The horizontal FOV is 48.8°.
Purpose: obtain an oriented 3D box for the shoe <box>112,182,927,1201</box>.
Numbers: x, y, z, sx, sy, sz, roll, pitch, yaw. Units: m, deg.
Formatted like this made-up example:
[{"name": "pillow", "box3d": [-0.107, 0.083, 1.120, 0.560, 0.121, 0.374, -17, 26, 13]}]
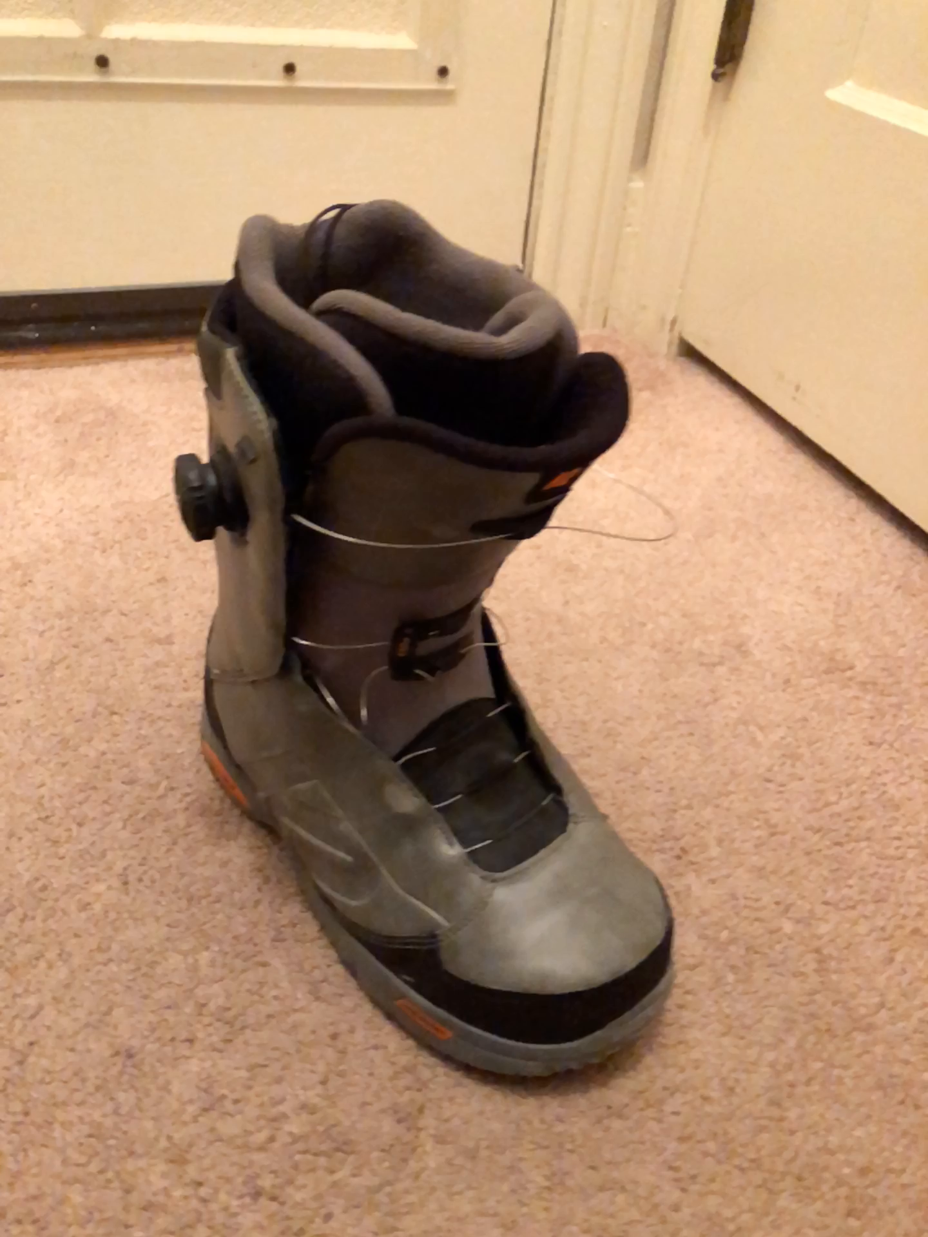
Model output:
[{"name": "shoe", "box3d": [-0.005, 0.013, 0.417, 0.138, 0.281, 0.274, -21, 45, -32]}]
